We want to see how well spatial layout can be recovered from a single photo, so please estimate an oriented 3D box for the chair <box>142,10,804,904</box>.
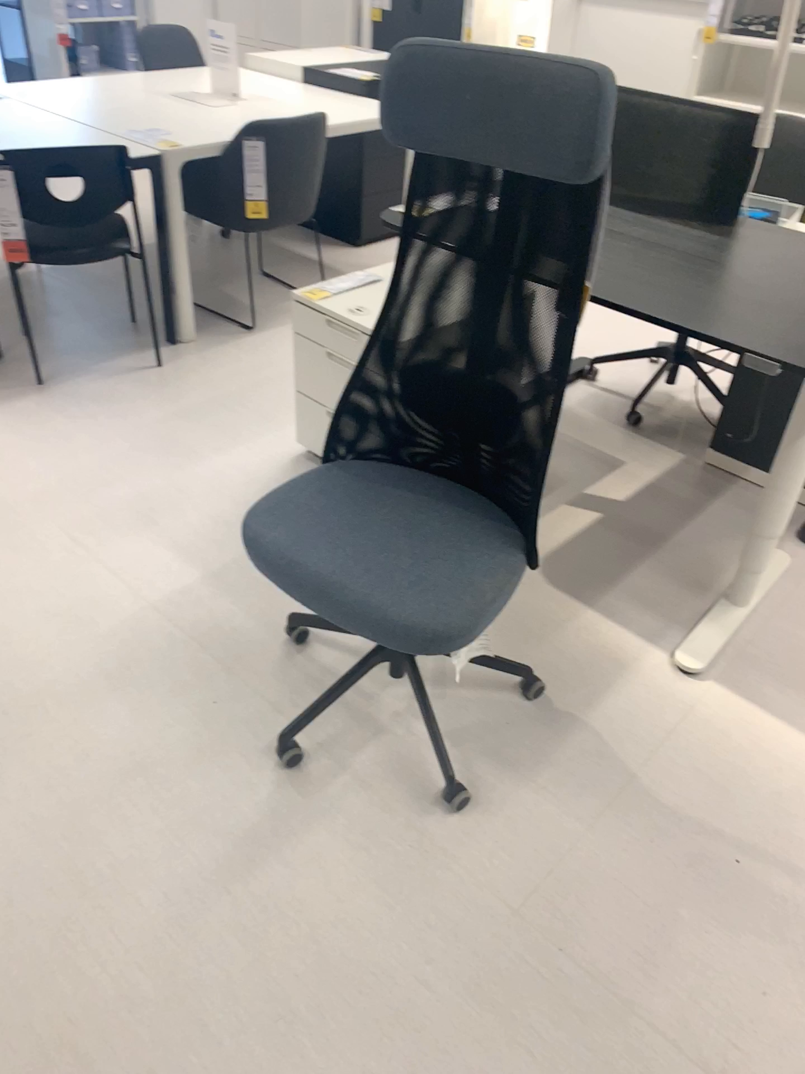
[{"bbox_3d":[0.112,-0.149,1.500,0.641,1.304,0.732,28,43,29],"label":"chair"}]
